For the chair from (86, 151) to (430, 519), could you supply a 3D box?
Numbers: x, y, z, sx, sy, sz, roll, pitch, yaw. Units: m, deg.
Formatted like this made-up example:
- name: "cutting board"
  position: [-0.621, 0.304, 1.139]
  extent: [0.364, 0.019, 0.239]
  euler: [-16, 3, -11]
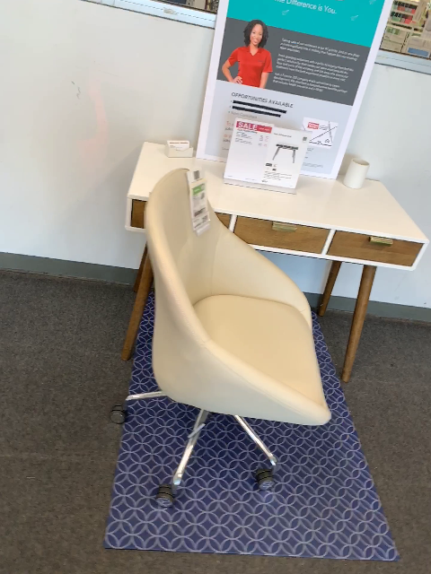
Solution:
- name: "chair"
  position: [0.049, 0.135, 1.279]
  extent: [0.690, 0.736, 0.674]
  euler: [8, 36, -7]
